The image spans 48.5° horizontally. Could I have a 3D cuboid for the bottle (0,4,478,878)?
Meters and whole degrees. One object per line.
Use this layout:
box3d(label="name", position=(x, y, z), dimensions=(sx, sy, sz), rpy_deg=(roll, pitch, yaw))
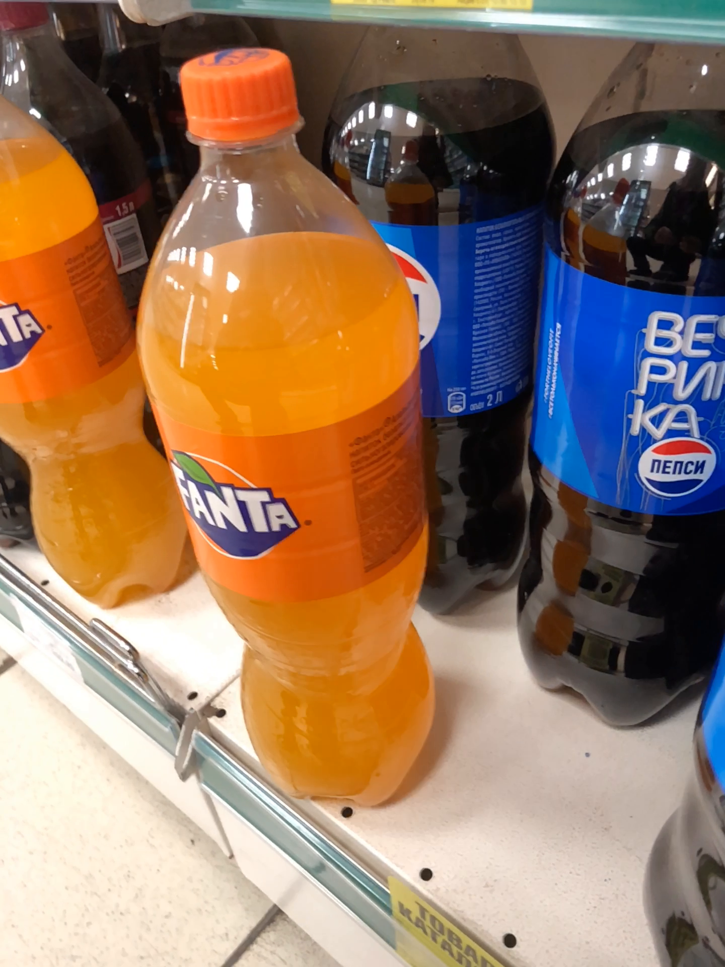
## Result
box3d(label="bottle", position=(-0.024, 0.008, 0.300), dimensions=(0.100, 0.308, 0.090), rpy_deg=(22, 47, 31))
